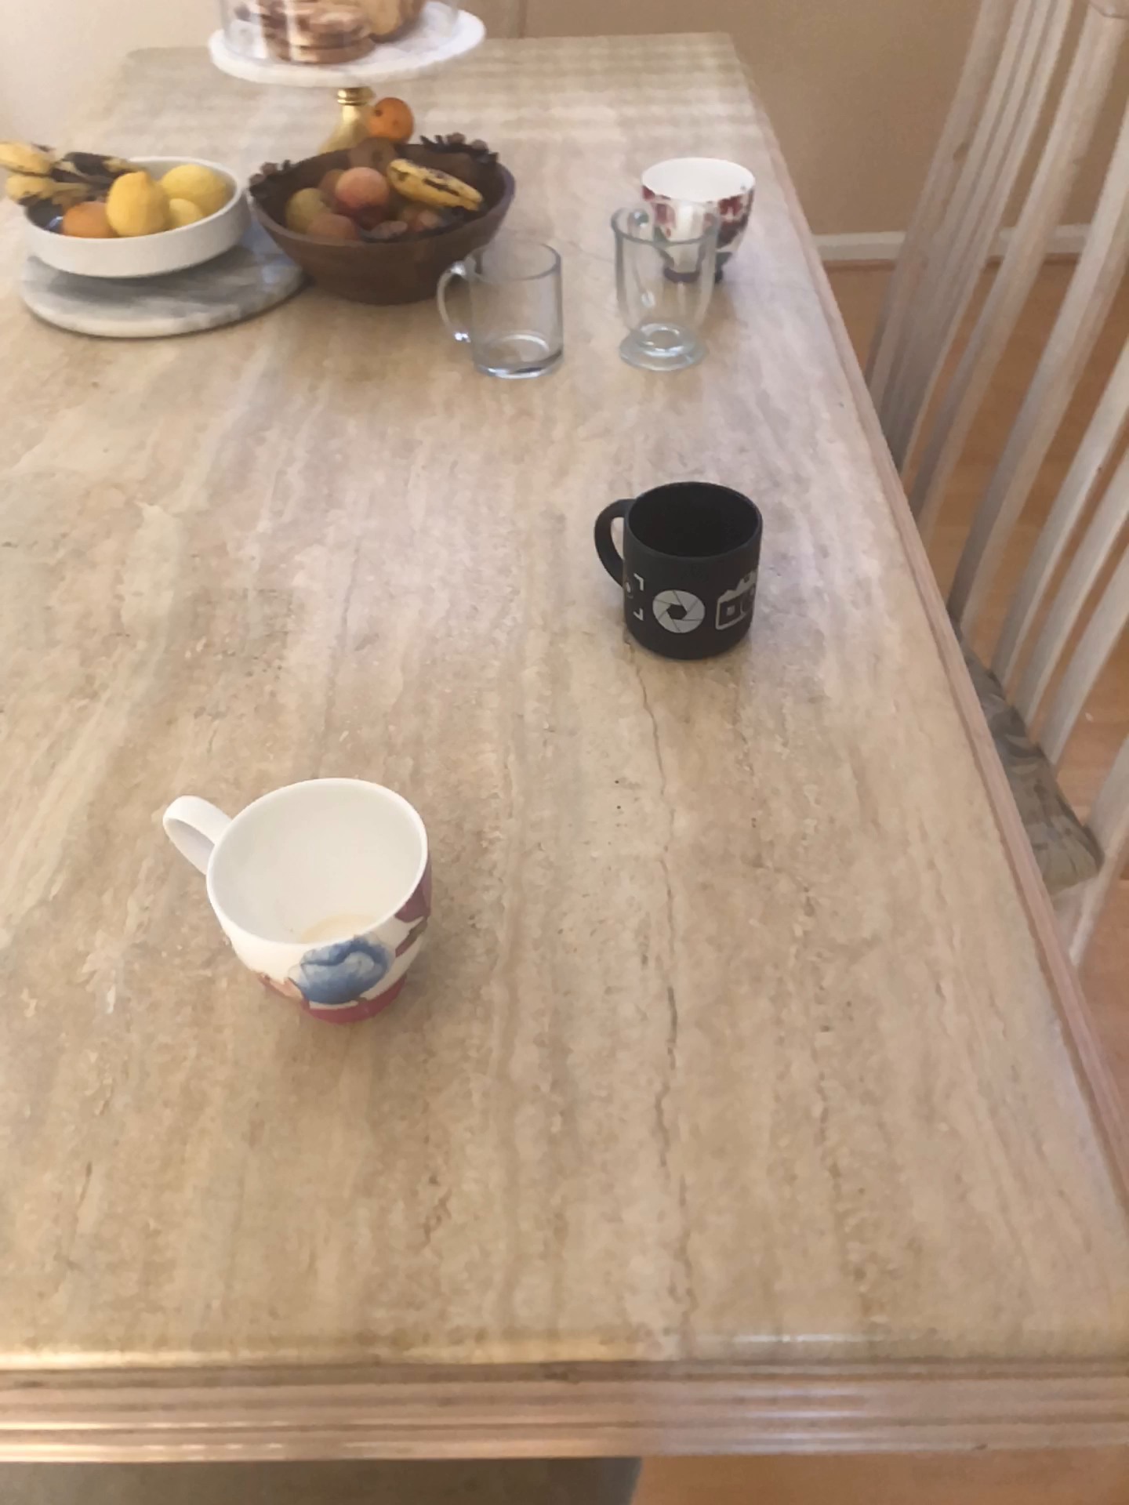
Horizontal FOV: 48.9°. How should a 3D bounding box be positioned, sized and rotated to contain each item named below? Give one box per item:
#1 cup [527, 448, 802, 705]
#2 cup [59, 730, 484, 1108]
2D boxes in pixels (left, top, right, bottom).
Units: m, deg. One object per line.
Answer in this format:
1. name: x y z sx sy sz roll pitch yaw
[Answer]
1. cup: 0.066 -0.123 0.847 0.150 0.089 0.101 29 53 28
2. cup: -0.140 0.079 0.623 0.160 0.089 0.111 18 48 20
